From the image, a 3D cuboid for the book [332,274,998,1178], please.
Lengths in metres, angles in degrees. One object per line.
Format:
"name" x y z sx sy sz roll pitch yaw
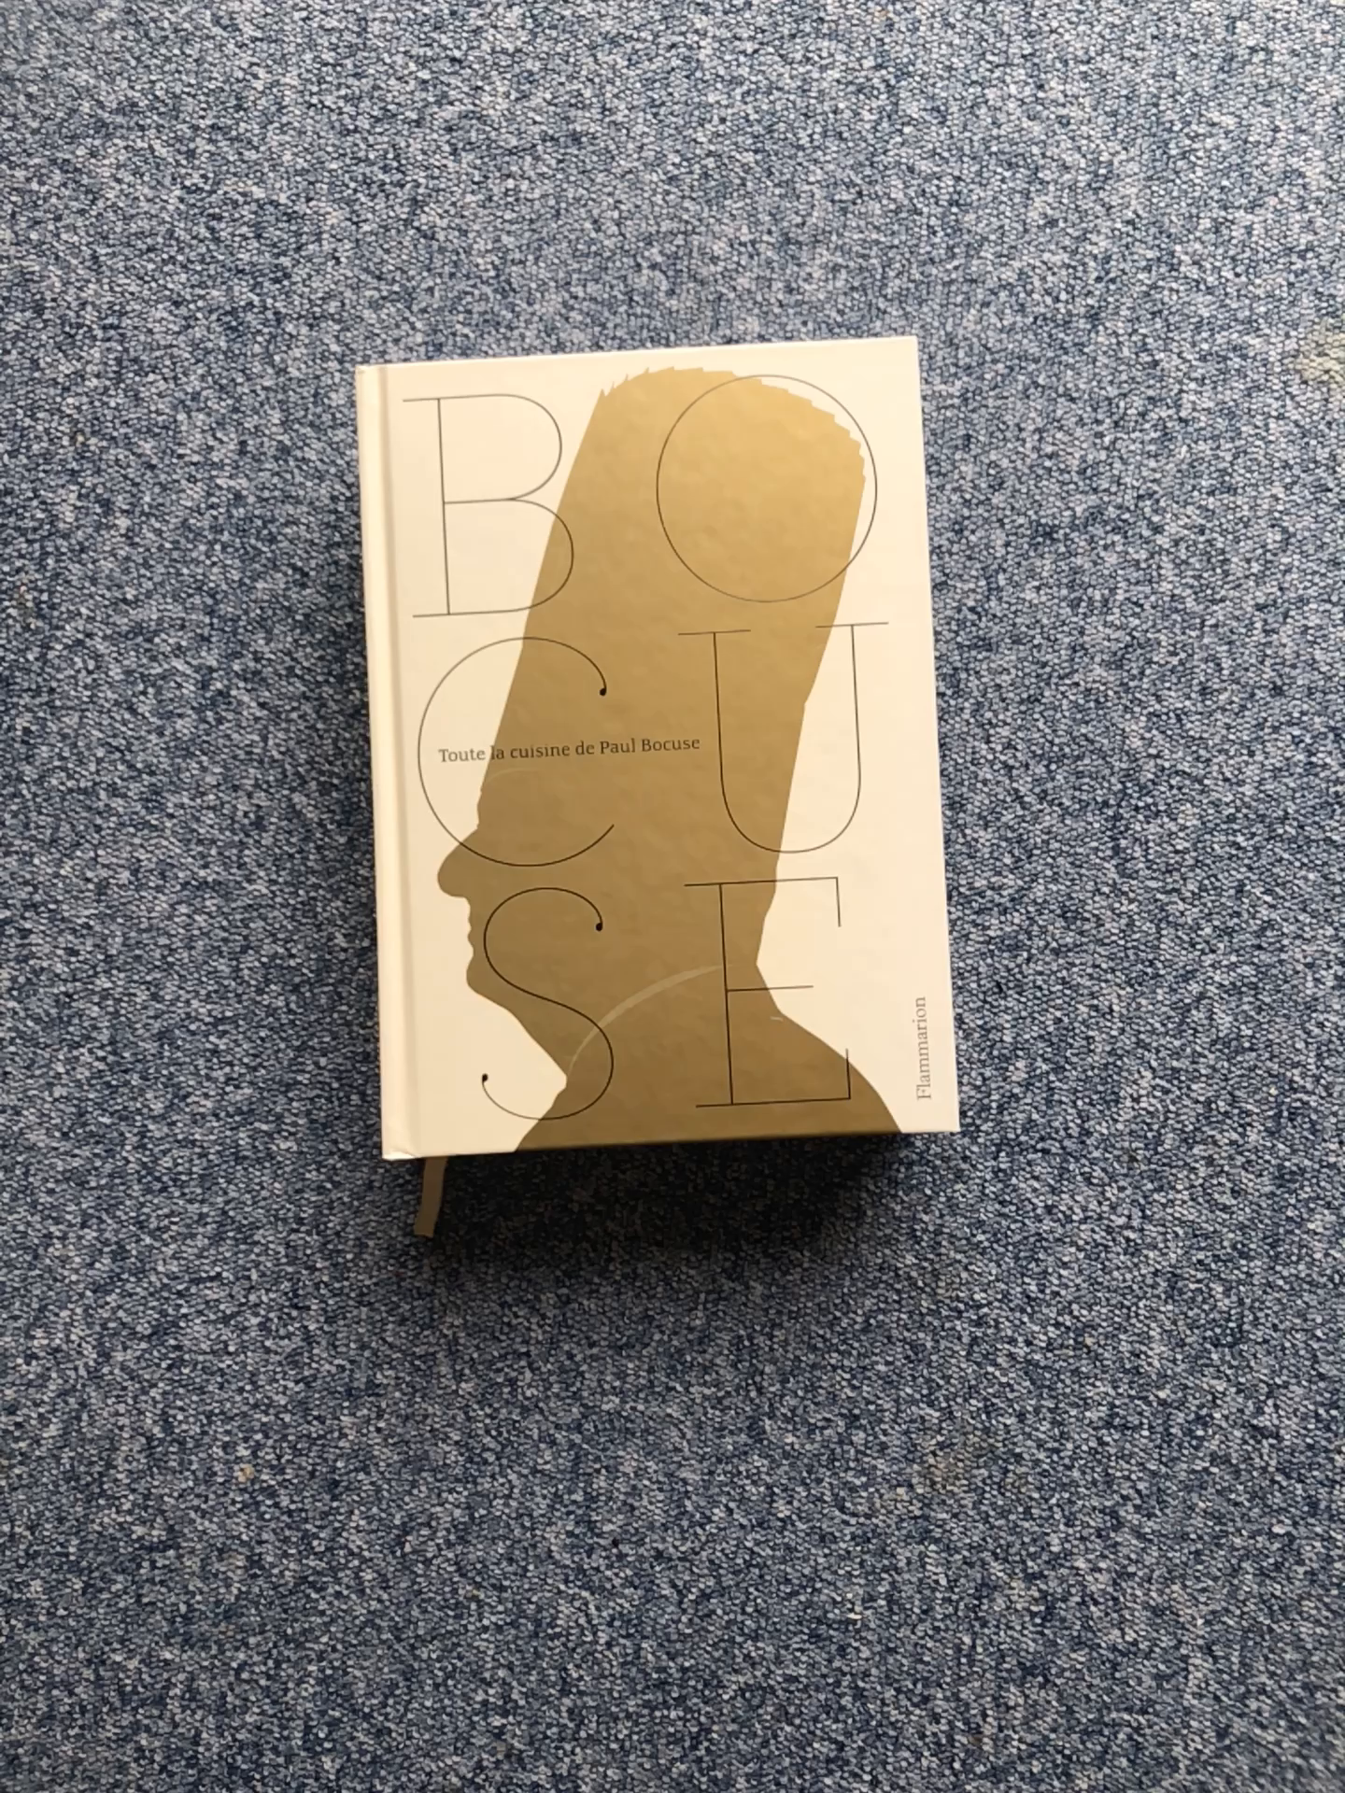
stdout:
"book" -0.004 -0.054 0.505 0.200 0.080 0.280 -2 86 1
